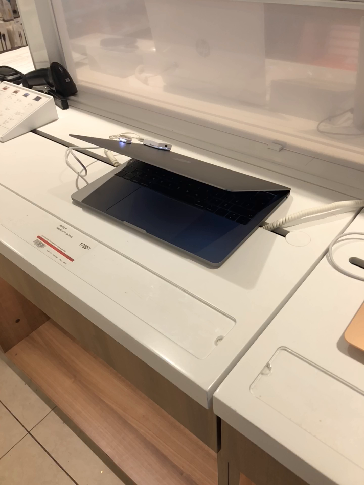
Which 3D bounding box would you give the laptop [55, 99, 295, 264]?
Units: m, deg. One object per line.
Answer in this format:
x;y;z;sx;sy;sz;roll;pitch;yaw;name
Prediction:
-0.013;-0.118;0.635;0.305;0.104;0.201;24;48;31;laptop
